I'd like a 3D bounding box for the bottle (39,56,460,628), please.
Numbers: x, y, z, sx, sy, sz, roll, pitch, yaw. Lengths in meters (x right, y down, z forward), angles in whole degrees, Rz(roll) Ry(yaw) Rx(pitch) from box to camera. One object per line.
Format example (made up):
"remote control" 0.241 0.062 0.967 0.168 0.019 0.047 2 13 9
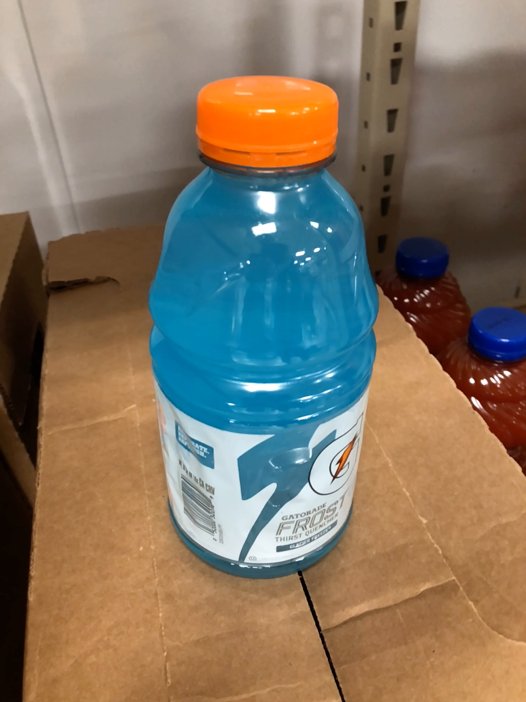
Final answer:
"bottle" -0.001 -0.001 0.247 0.090 0.200 0.100 29 47 35
